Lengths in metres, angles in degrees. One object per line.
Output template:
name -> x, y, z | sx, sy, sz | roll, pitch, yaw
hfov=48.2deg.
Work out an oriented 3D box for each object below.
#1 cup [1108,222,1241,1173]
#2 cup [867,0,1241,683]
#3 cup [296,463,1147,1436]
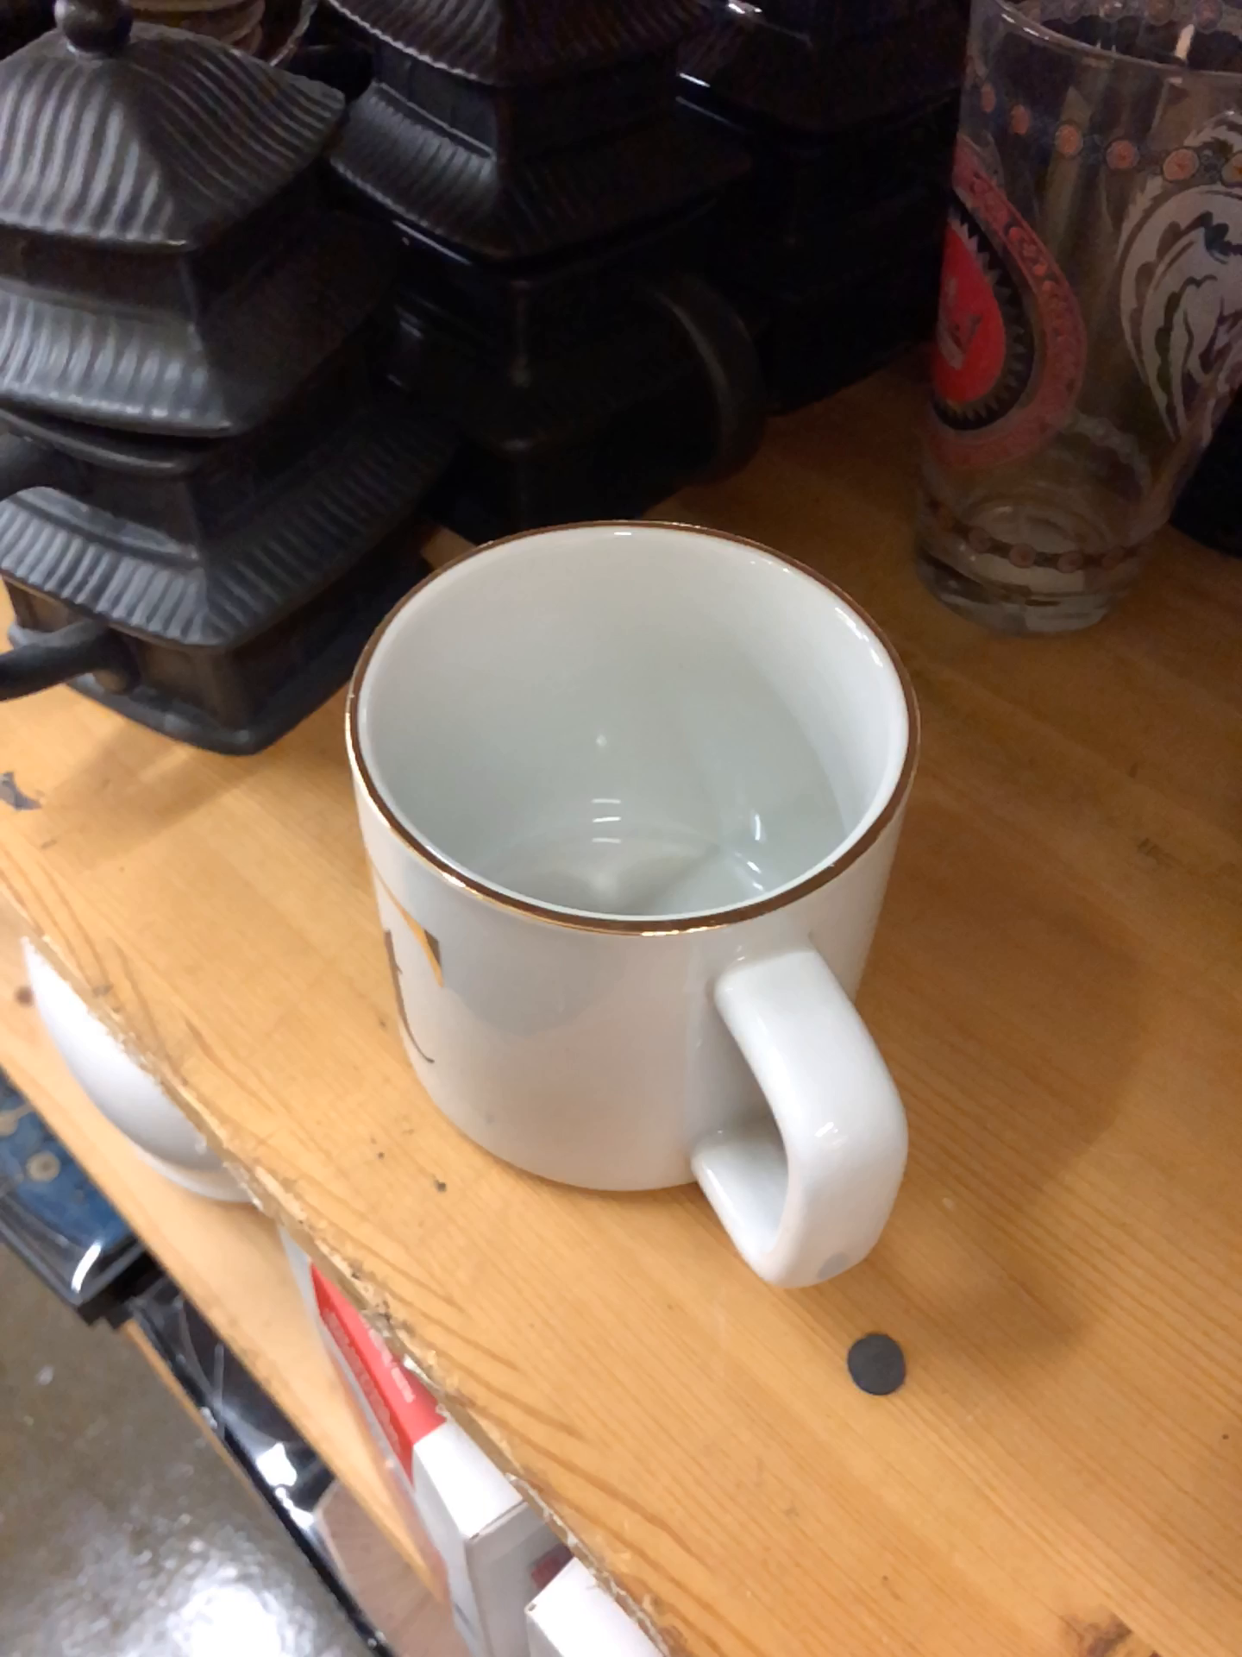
cup -> 0.159, -0.022, 0.233 | 0.078, 0.104, 0.093 | -29, 56, -23
cup -> 0.113, -0.115, 0.311 | 0.078, 0.134, 0.093 | -3, 50, -4
cup -> 0.005, 0.015, 0.237 | 0.088, 0.084, 0.123 | -13, 51, -12
